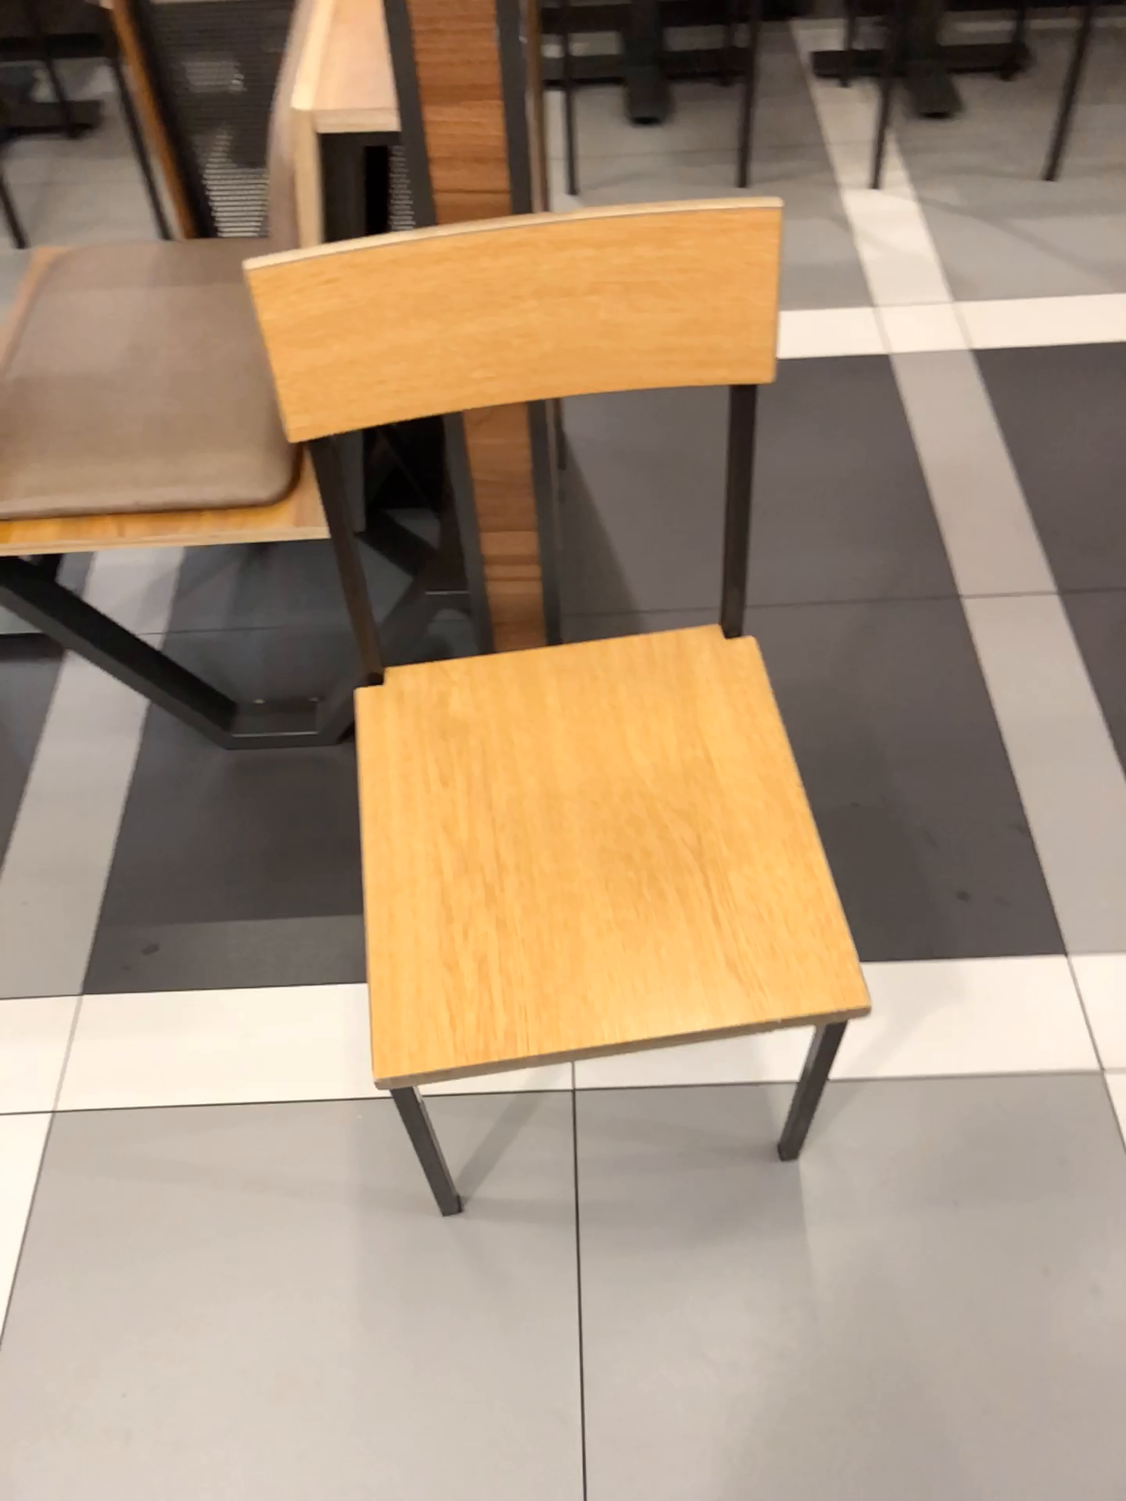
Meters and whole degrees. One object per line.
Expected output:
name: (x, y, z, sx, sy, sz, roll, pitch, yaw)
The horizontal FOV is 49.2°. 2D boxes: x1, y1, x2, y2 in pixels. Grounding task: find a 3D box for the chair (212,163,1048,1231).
chair: (0.019, 0.032, 1.098, 0.430, 0.846, 0.462, -9, 53, -4)
